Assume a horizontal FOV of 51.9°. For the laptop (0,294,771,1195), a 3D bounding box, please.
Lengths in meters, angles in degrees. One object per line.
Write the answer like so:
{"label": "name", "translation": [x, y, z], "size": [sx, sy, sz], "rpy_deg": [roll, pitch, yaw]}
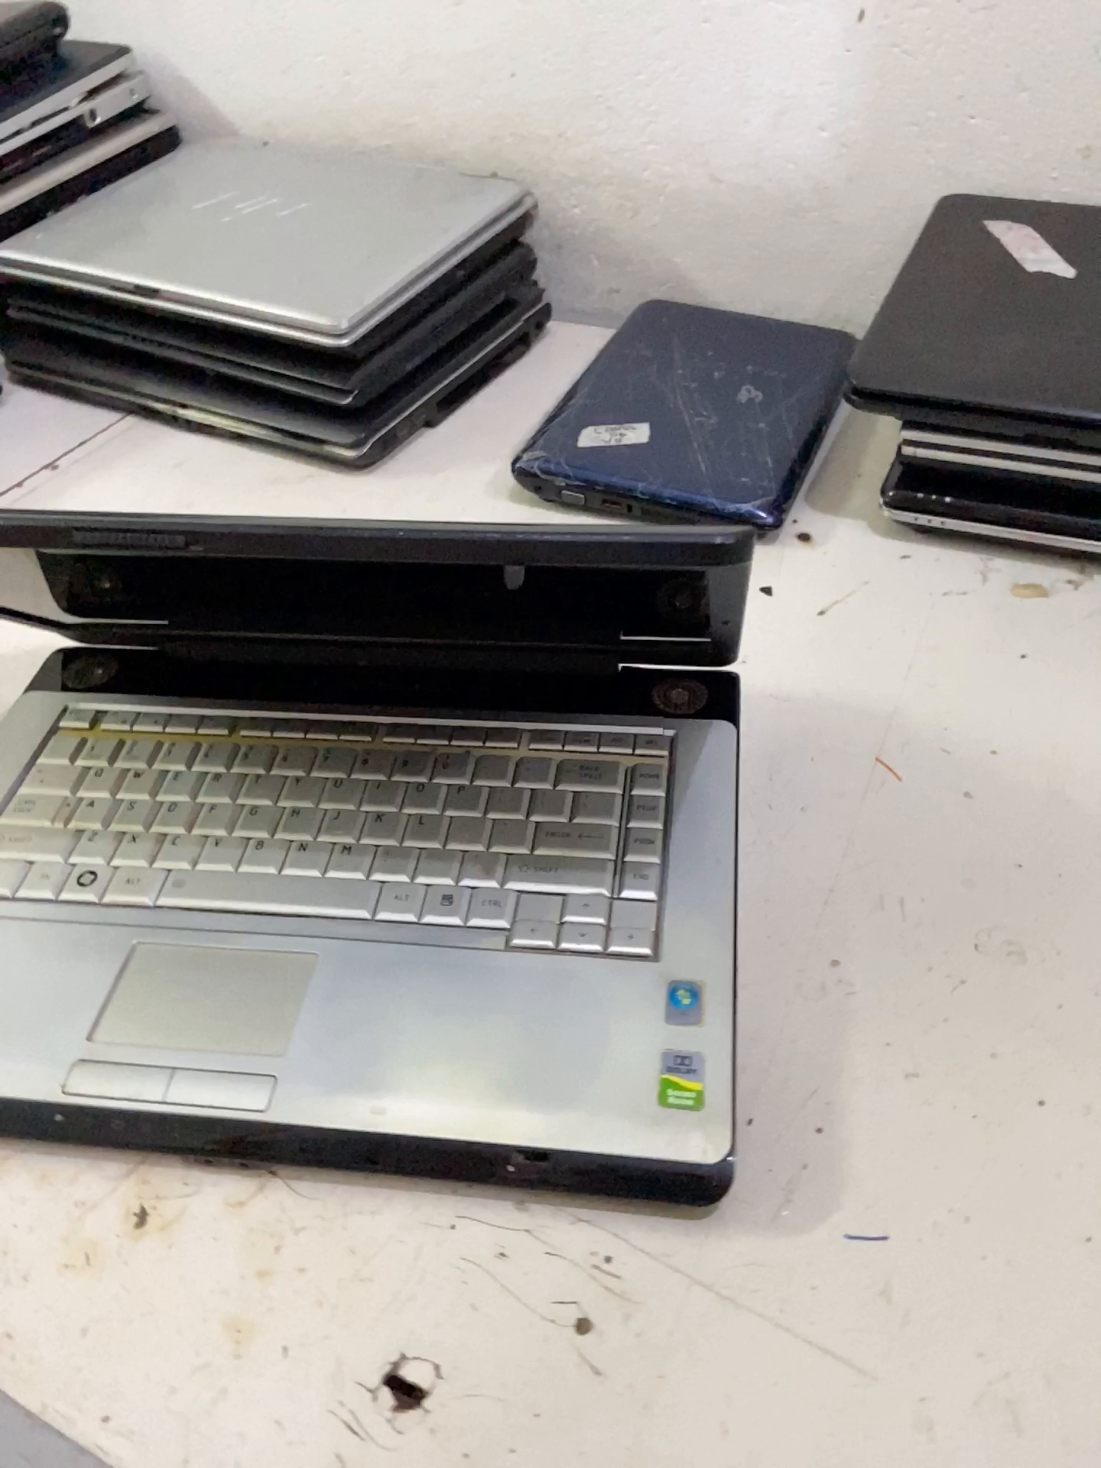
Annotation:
{"label": "laptop", "translation": [-0.107, -0.015, 0.425], "size": [0.355, 0.185, 0.258], "rpy_deg": [2, 44, 9]}
